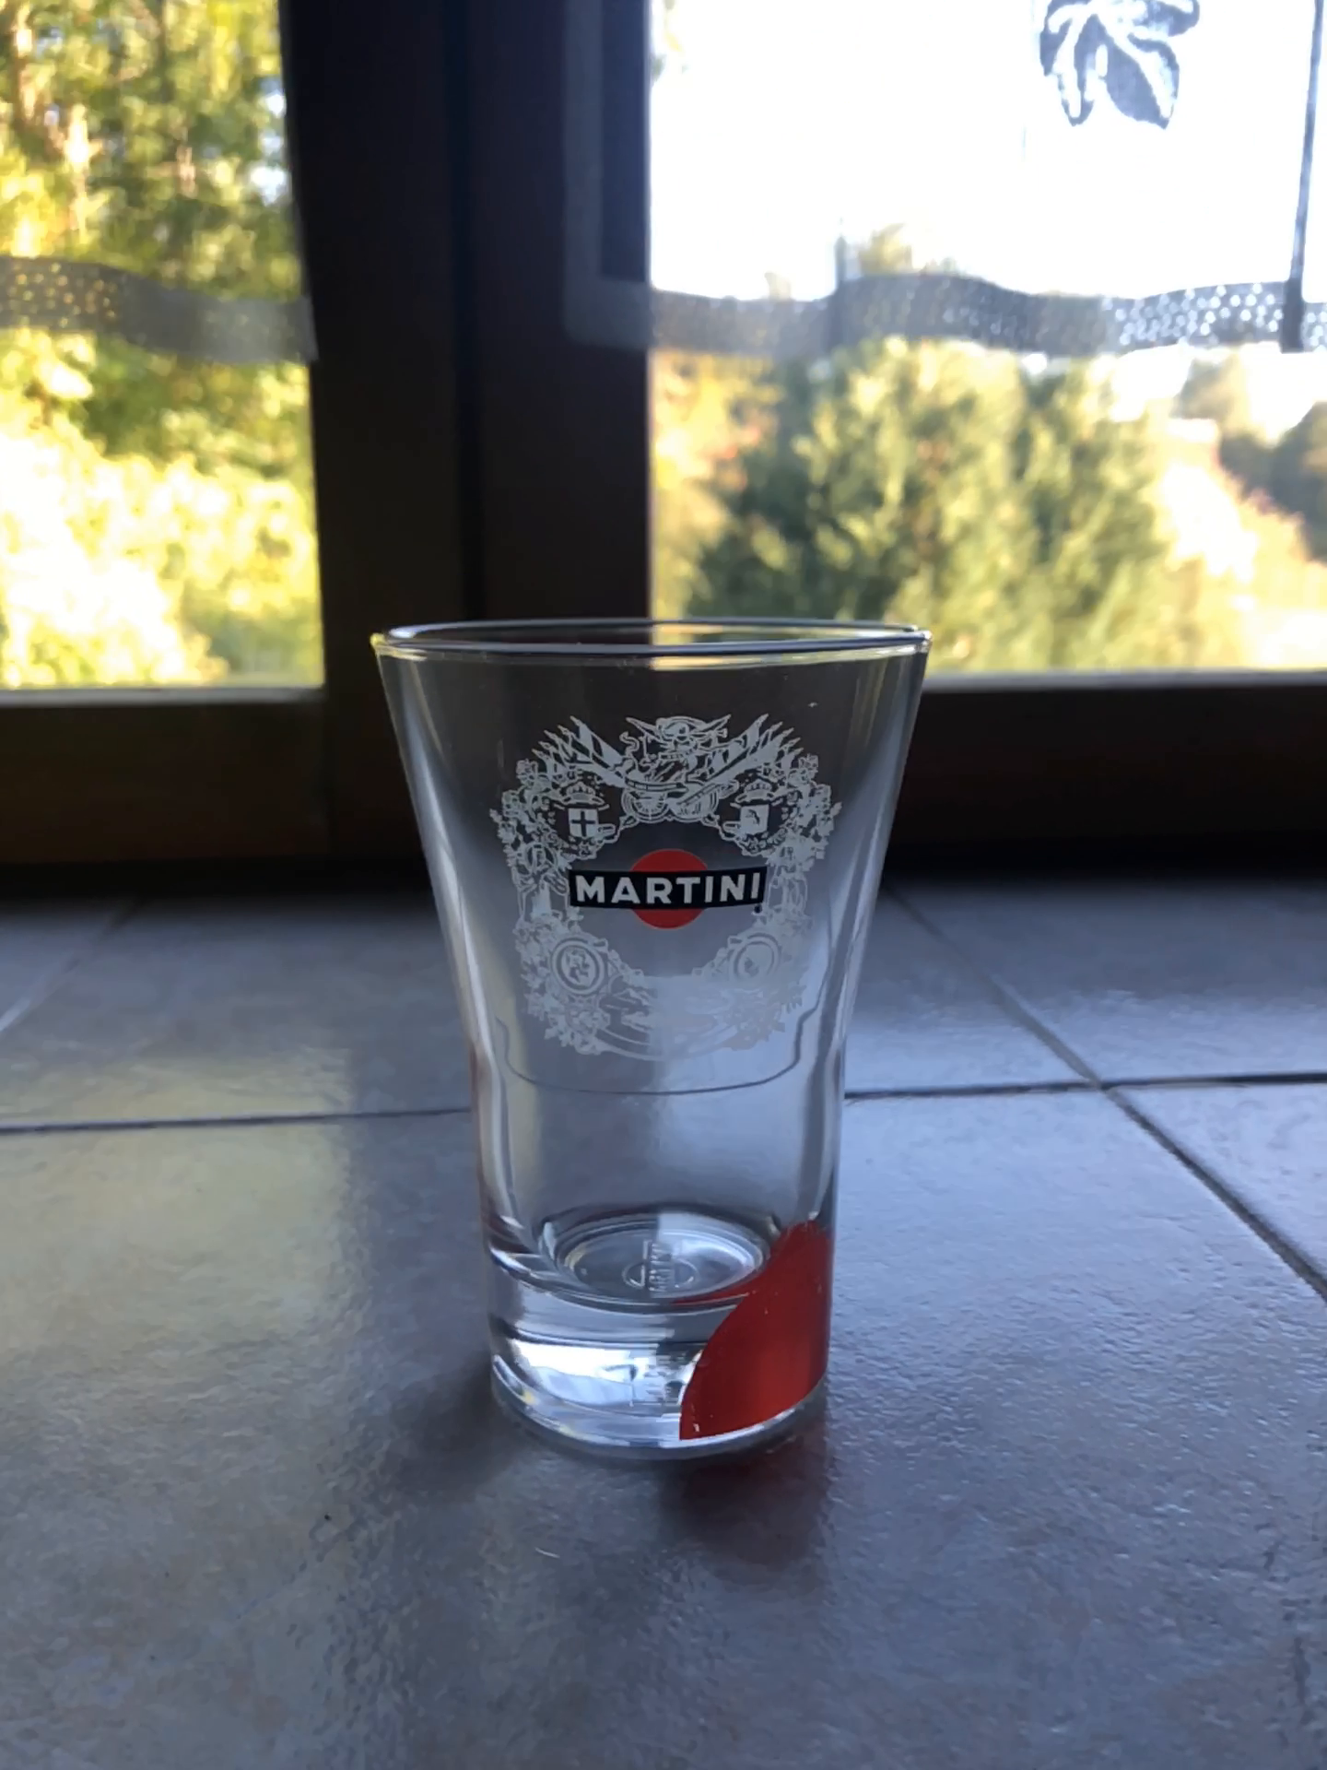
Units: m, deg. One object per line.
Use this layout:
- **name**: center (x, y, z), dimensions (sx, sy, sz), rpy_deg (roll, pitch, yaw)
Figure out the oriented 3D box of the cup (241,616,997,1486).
- **cup**: center (-0.004, 0.018, 0.244), dimensions (0.095, 0.116, 0.092), rpy_deg (0, 14, 0)
